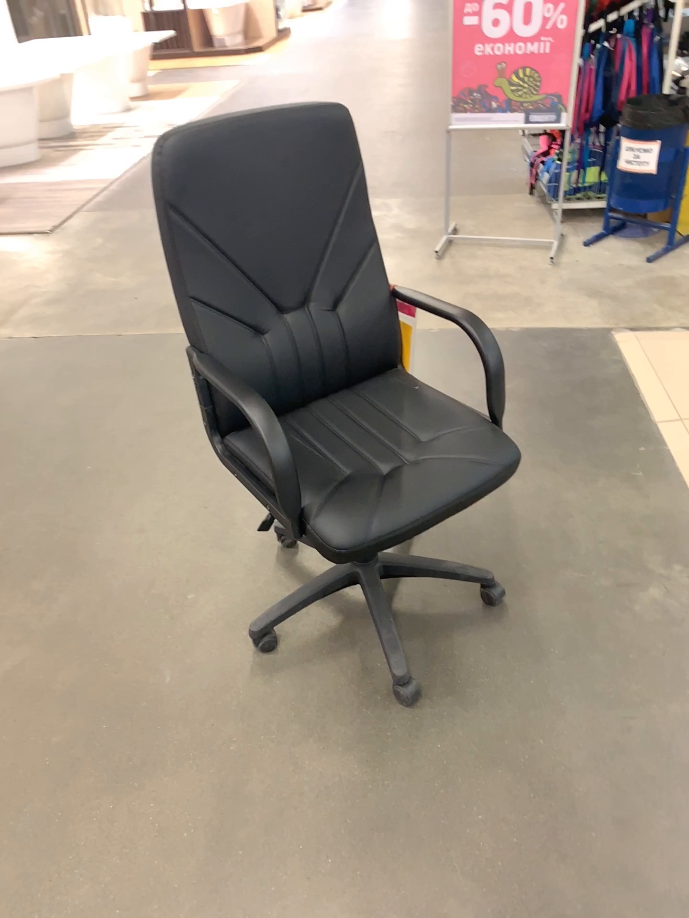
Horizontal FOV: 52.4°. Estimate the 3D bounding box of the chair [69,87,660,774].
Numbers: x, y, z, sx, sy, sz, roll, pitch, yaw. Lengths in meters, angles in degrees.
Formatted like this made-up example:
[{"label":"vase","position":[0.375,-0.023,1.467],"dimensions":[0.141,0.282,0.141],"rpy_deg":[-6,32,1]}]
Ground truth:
[{"label":"chair","position":[0.011,-0.117,1.516],"dimensions":[0.671,1.085,0.813],"rpy_deg":[-24,40,-25]}]
